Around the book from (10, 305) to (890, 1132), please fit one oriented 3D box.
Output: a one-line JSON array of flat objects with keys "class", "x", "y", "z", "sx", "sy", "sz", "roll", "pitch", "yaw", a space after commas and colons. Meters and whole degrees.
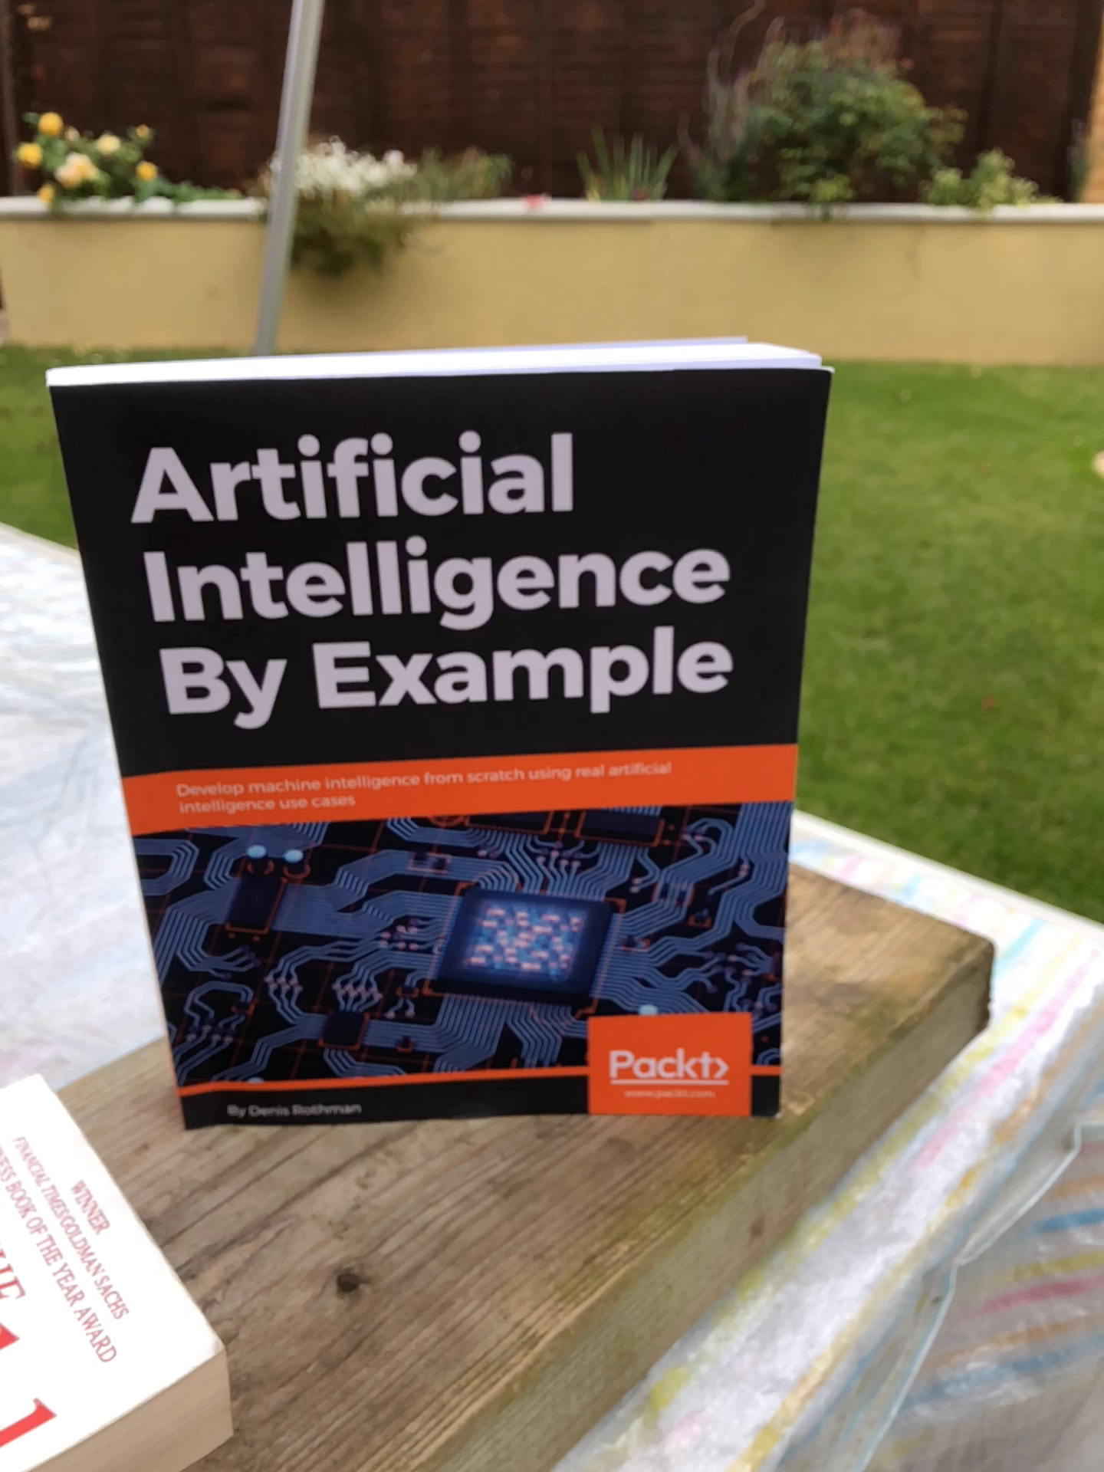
[{"class": "book", "x": -0.023, "y": 0.003, "z": 0.359, "sx": 0.210, "sy": 0.239, "sz": 0.040, "roll": -1, "pitch": 23, "yaw": -2}]
